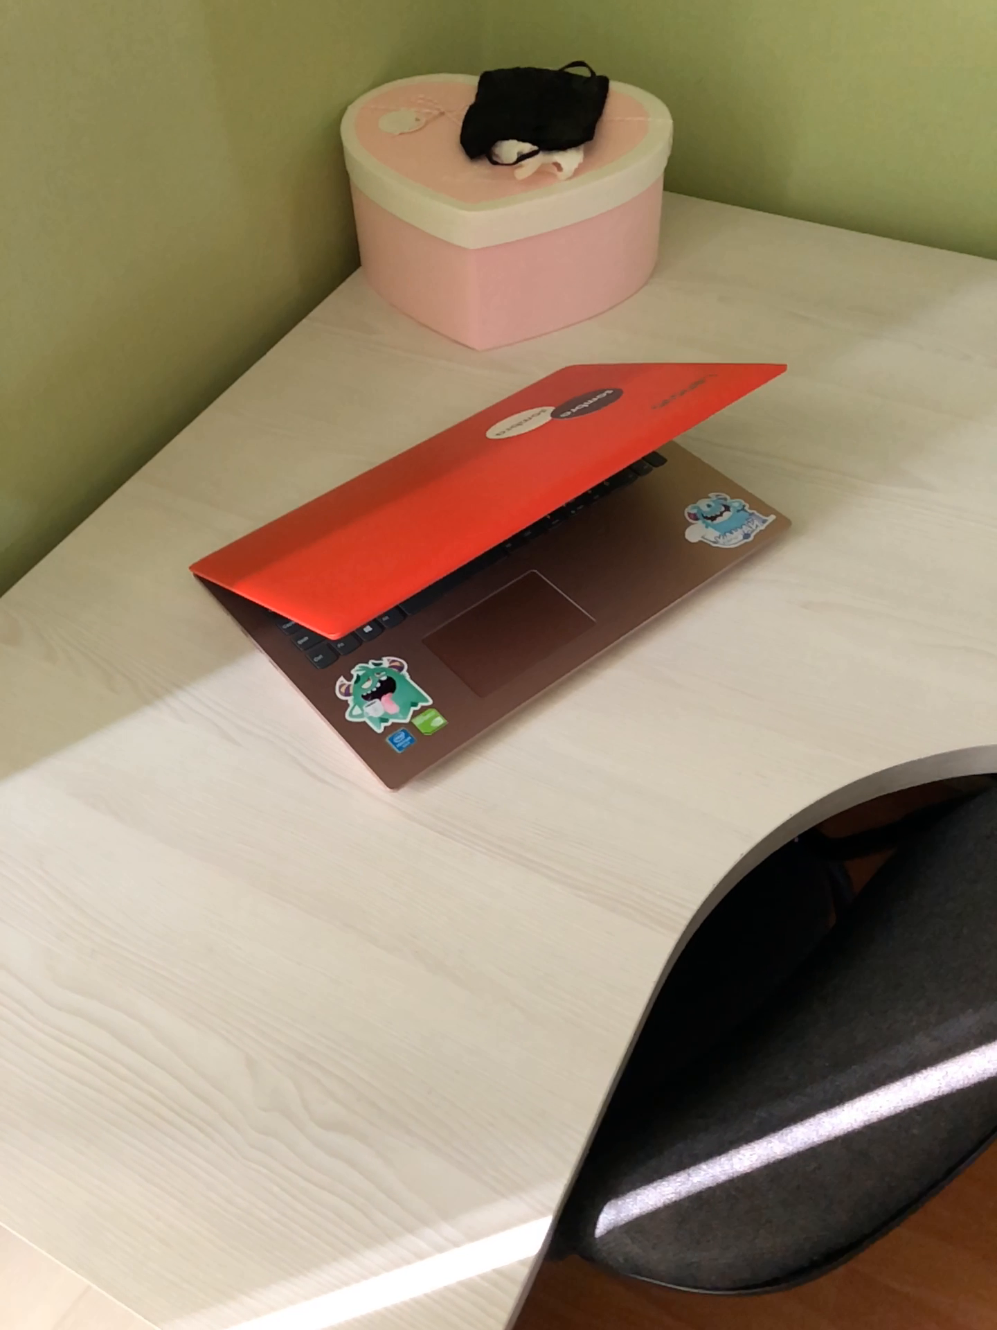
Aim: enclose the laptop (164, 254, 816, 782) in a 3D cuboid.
[{"bbox_3d":[0.000,-0.124,0.772,0.367,0.112,0.233,-33,57,-23],"label":"laptop"}]
